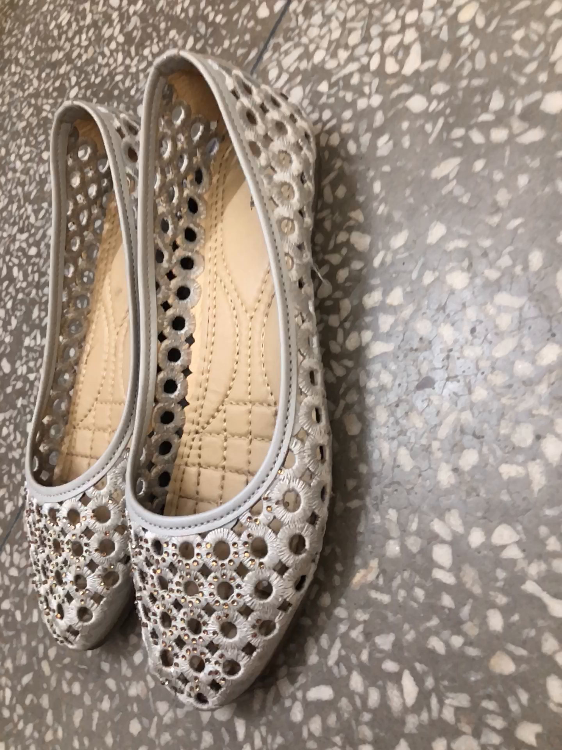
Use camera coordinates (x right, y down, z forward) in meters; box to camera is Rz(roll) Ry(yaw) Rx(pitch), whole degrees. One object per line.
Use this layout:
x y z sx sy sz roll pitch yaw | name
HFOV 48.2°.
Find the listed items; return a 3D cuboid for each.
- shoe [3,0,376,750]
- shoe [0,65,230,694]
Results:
-0.030 0.001 0.241 0.093 0.070 0.240 -2 77 38 | shoe
-0.094 0.000 0.291 0.093 0.070 0.240 -2 77 38 | shoe
